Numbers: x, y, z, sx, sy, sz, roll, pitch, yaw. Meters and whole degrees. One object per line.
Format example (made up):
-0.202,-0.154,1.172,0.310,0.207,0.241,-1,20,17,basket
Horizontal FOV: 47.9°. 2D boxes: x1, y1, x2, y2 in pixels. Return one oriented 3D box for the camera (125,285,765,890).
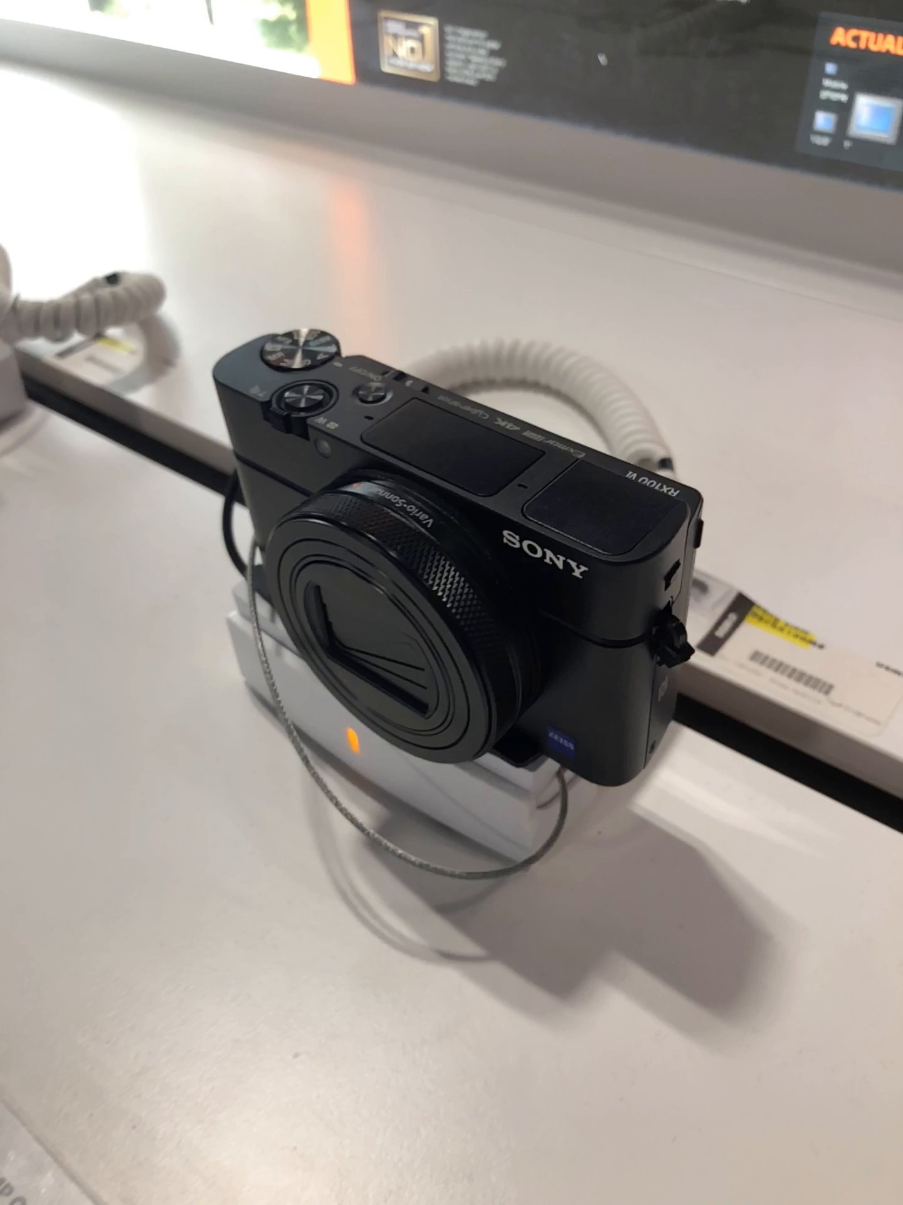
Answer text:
-0.005,-0.008,0.198,0.110,0.070,0.040,28,50,29,camera
